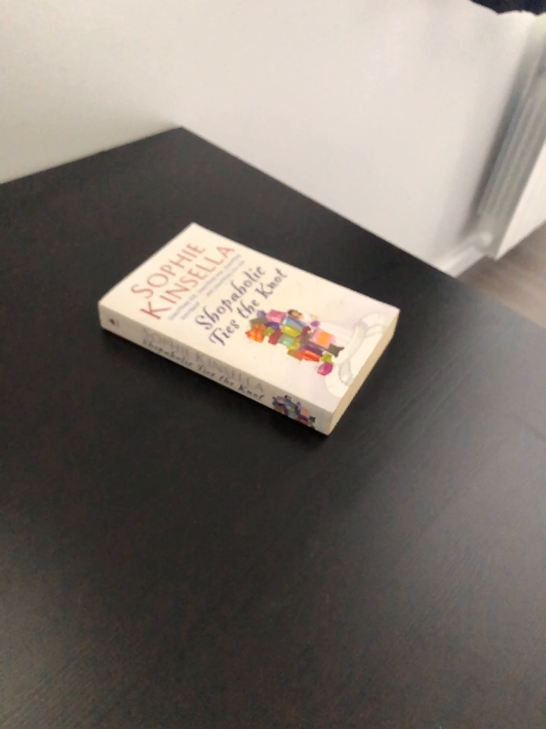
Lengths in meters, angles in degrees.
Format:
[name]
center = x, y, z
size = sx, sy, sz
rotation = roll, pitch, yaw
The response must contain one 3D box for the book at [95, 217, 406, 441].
[book]
center = -0.015, -0.038, 0.479
size = 0.200, 0.035, 0.131
rotation = 25, 49, 17
